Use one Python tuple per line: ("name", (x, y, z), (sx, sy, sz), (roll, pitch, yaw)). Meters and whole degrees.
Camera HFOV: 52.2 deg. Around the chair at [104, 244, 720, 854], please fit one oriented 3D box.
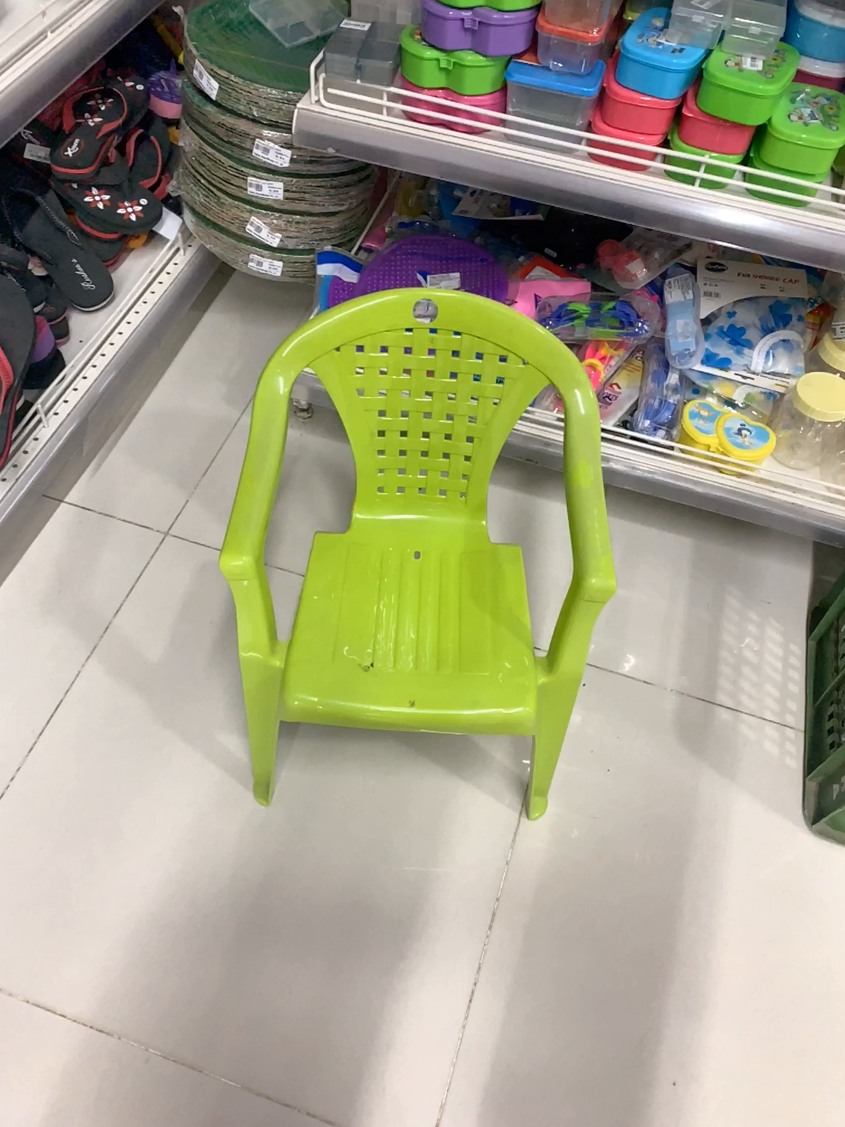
("chair", (-0.005, 0.018, 0.840), (0.390, 0.469, 0.361), (5, 55, 0))
